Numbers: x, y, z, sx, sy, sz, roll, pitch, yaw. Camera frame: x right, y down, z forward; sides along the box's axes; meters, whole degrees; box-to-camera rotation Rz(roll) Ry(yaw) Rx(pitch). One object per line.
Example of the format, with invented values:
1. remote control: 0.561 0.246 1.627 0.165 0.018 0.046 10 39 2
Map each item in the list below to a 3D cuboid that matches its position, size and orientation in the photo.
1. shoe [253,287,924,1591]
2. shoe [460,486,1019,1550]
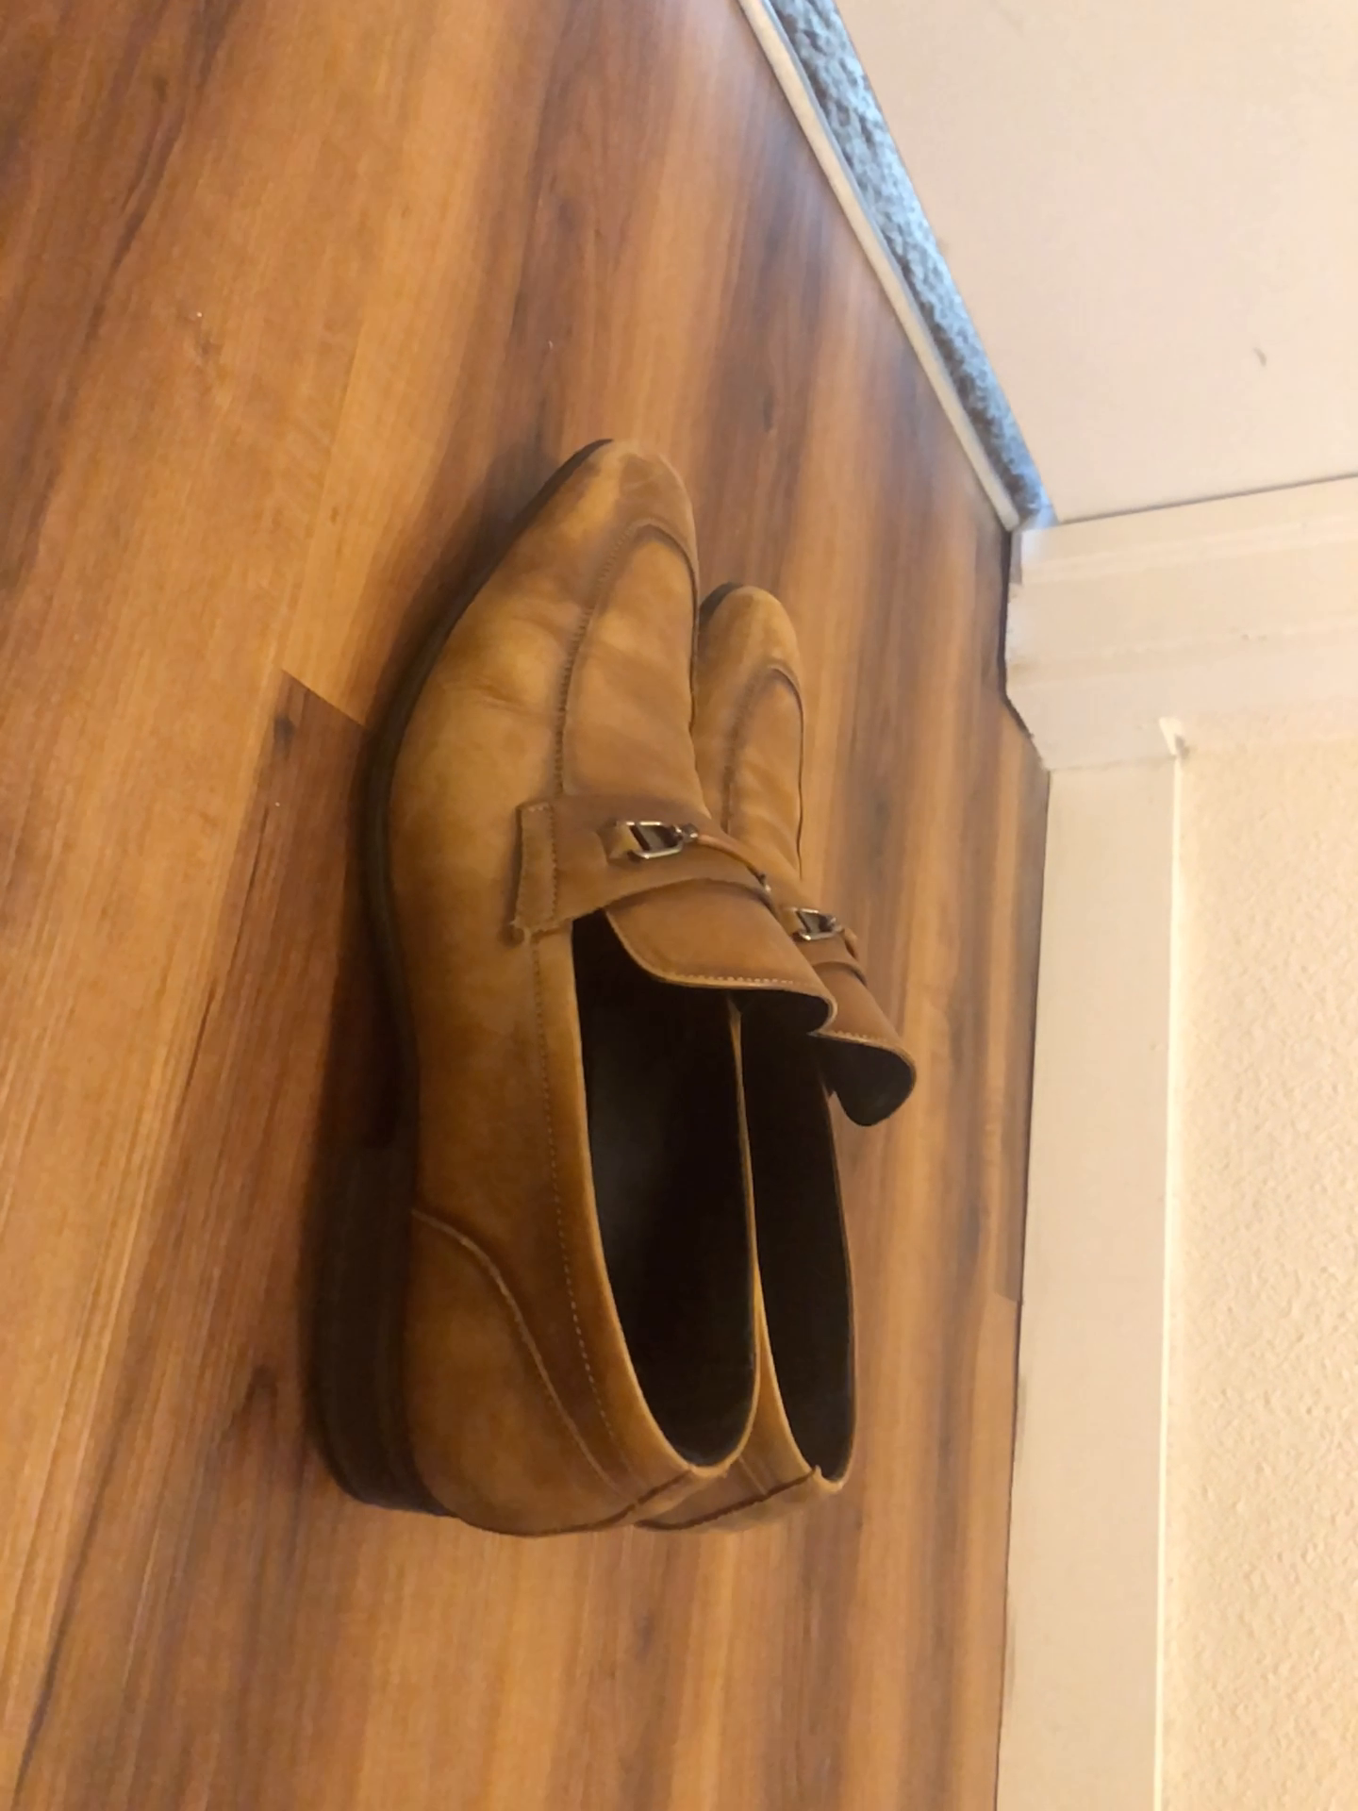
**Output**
1. shoe: -0.011 0.008 0.410 0.107 0.111 0.308 32 59 -57
2. shoe: 0.033 0.034 0.486 0.107 0.111 0.308 39 53 -54
